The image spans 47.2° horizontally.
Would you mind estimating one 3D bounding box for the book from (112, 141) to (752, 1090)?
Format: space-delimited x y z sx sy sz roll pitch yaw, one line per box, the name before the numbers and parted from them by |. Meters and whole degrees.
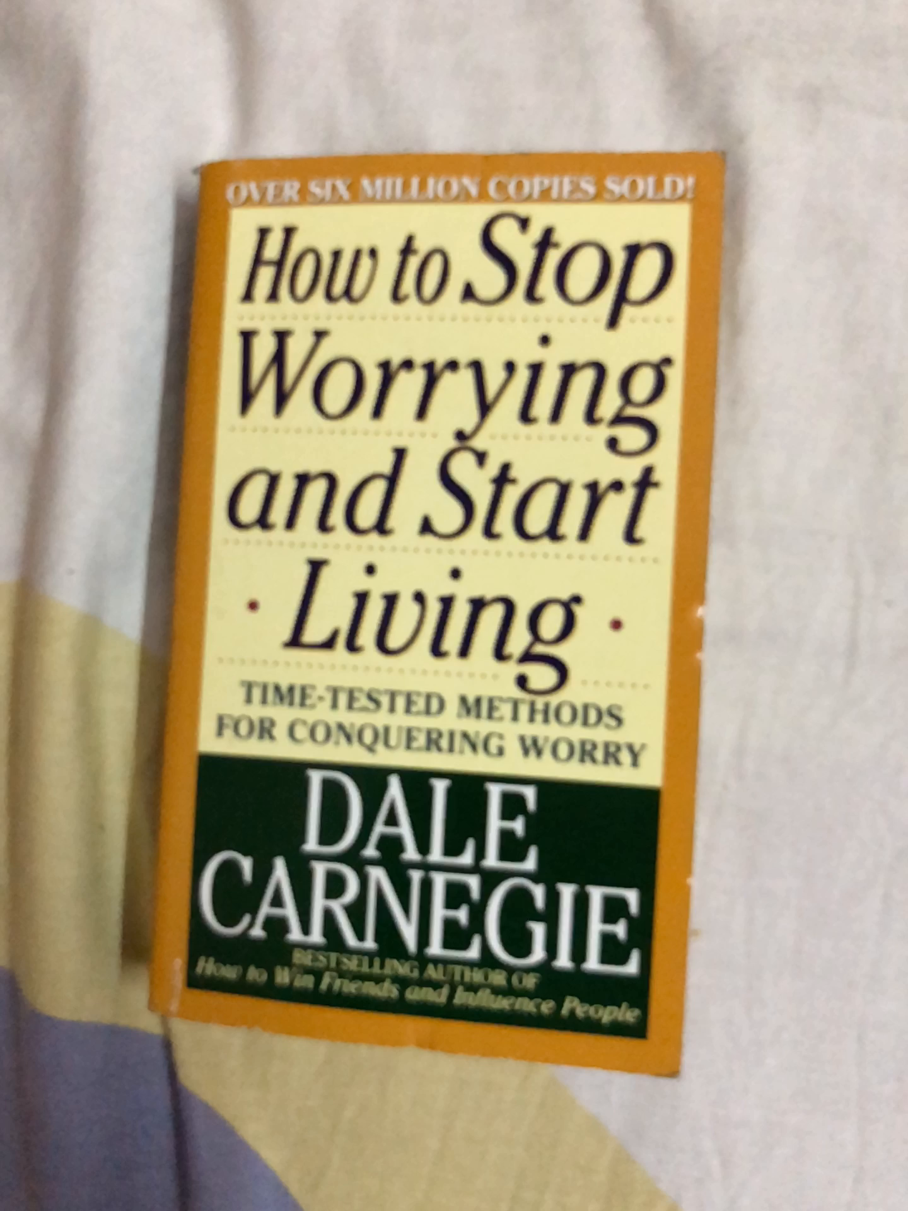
book | -0.002 -0.001 0.216 0.110 0.050 0.170 3 88 6
